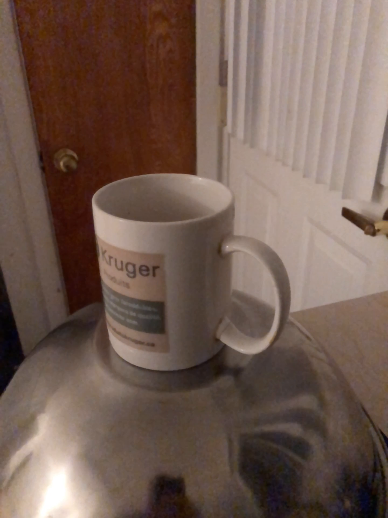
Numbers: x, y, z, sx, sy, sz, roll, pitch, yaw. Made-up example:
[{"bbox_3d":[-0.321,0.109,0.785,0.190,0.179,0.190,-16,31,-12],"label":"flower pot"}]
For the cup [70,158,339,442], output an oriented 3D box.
[{"bbox_3d":[0.004,0.012,0.266,0.120,0.109,0.090,23,36,36],"label":"cup"}]
